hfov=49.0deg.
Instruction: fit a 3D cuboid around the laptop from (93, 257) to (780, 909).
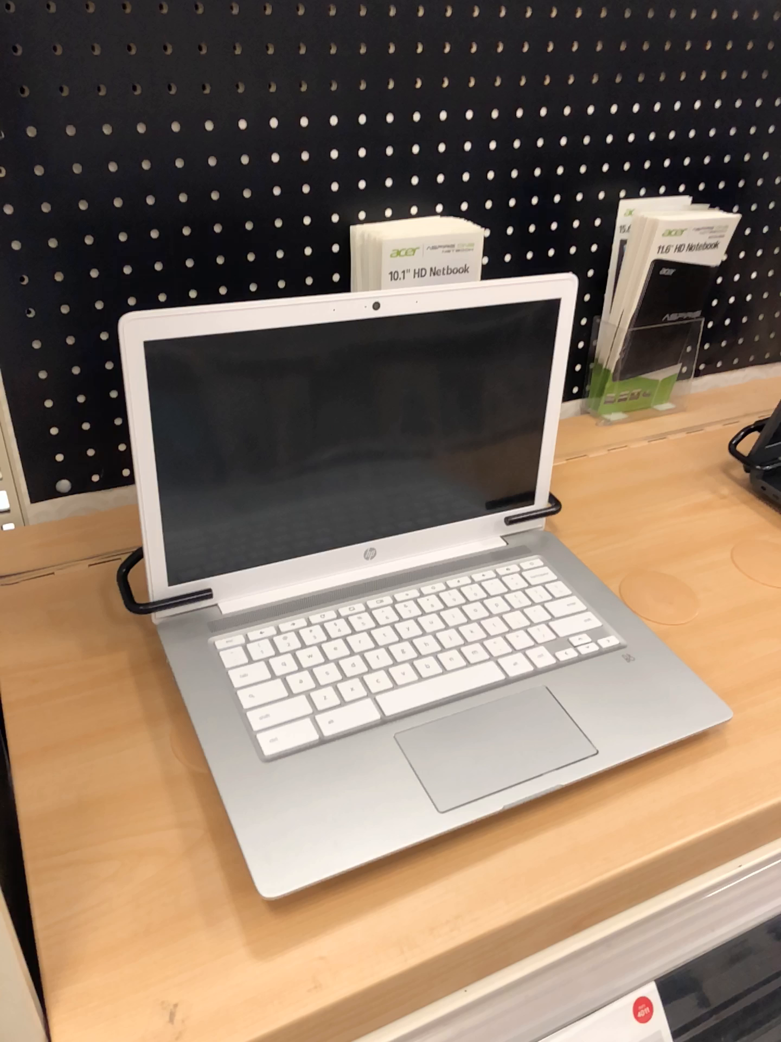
[{"bbox_3d":[0.025,-0.005,0.551,0.333,0.198,0.281,-13,38,-25],"label":"laptop"}]
